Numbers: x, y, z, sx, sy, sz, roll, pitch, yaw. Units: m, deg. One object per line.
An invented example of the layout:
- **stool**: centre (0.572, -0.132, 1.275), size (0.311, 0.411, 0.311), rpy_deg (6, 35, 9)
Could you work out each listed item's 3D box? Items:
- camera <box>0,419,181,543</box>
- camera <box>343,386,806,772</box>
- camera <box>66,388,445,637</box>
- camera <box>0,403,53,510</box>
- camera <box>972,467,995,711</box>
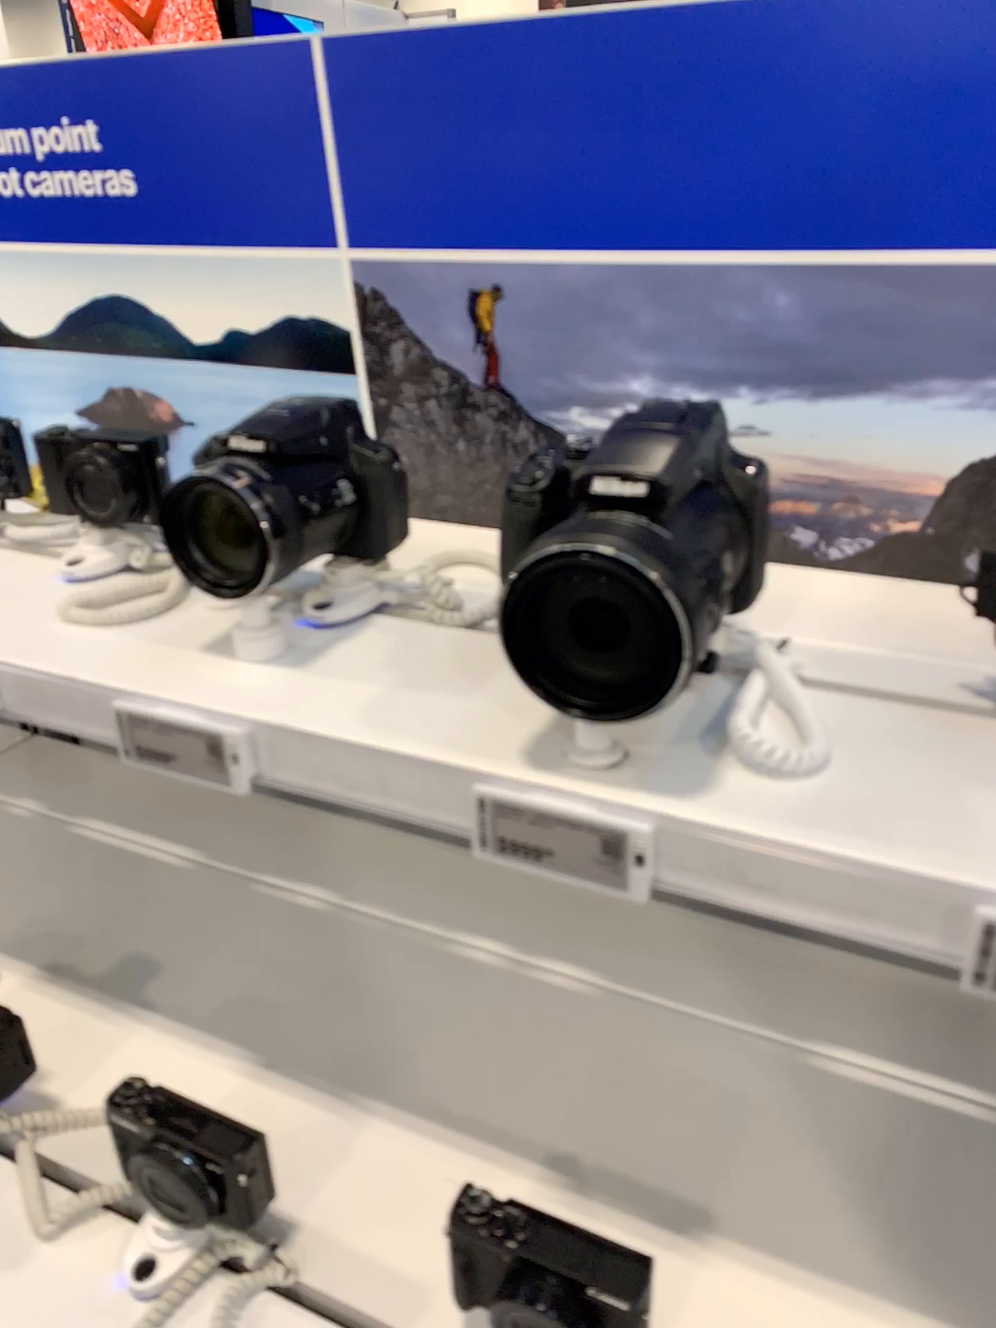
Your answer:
- **camera**: centre (-0.297, -0.135, 0.736), size (0.110, 0.070, 0.050), rpy_deg (10, 28, 23)
- **camera**: centre (0.053, -0.062, 0.516), size (0.160, 0.109, 0.221), rpy_deg (9, 28, 22)
- **camera**: centre (-0.142, -0.103, 0.629), size (0.160, 0.099, 0.151), rpy_deg (10, 28, 23)
- **camera**: centre (-0.432, -0.168, 0.813), size (0.120, 0.070, 0.050), rpy_deg (6, 27, 16)
- **camera**: centre (0.300, -0.039, 0.481), size (0.120, 0.089, 0.060), rpy_deg (7, 27, 19)
